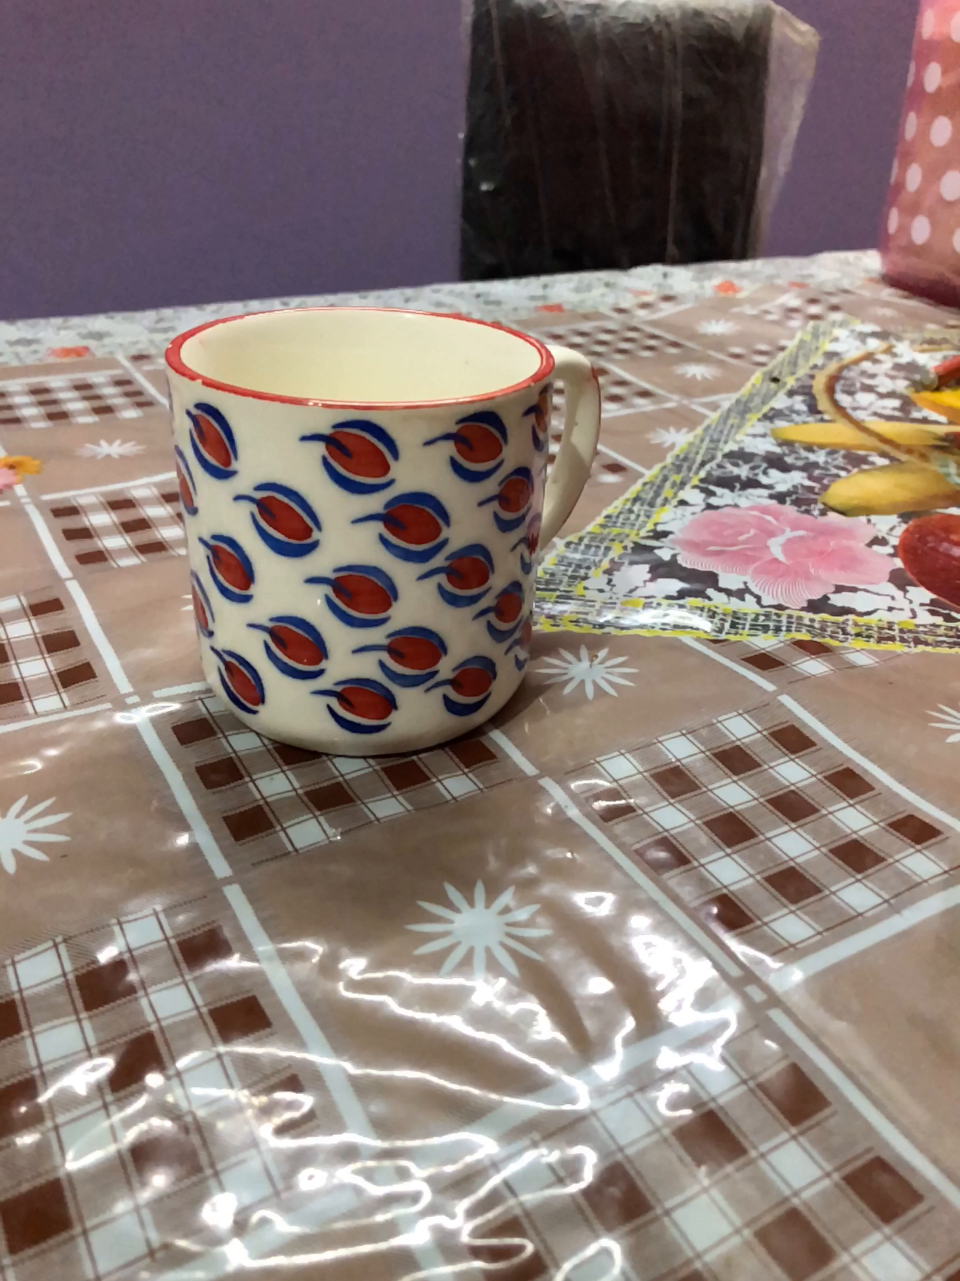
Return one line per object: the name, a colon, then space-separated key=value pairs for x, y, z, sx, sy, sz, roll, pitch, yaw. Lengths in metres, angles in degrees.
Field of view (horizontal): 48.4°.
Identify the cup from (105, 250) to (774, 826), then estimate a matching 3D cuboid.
cup: x=-0.007 y=-0.033 z=0.235 sx=0.111 sy=0.079 sz=0.080 roll=-23 pitch=38 yaw=-38
